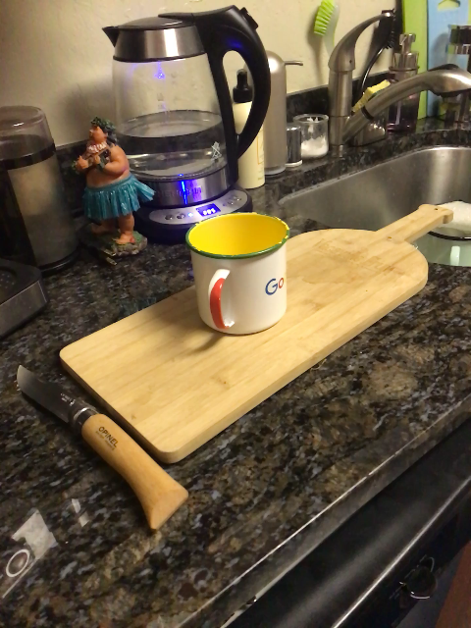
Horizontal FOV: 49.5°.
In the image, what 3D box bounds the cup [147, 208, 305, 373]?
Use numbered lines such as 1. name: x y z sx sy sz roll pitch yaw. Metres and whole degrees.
1. cup: -0.001 -0.029 0.482 0.100 0.089 0.131 9 35 20
